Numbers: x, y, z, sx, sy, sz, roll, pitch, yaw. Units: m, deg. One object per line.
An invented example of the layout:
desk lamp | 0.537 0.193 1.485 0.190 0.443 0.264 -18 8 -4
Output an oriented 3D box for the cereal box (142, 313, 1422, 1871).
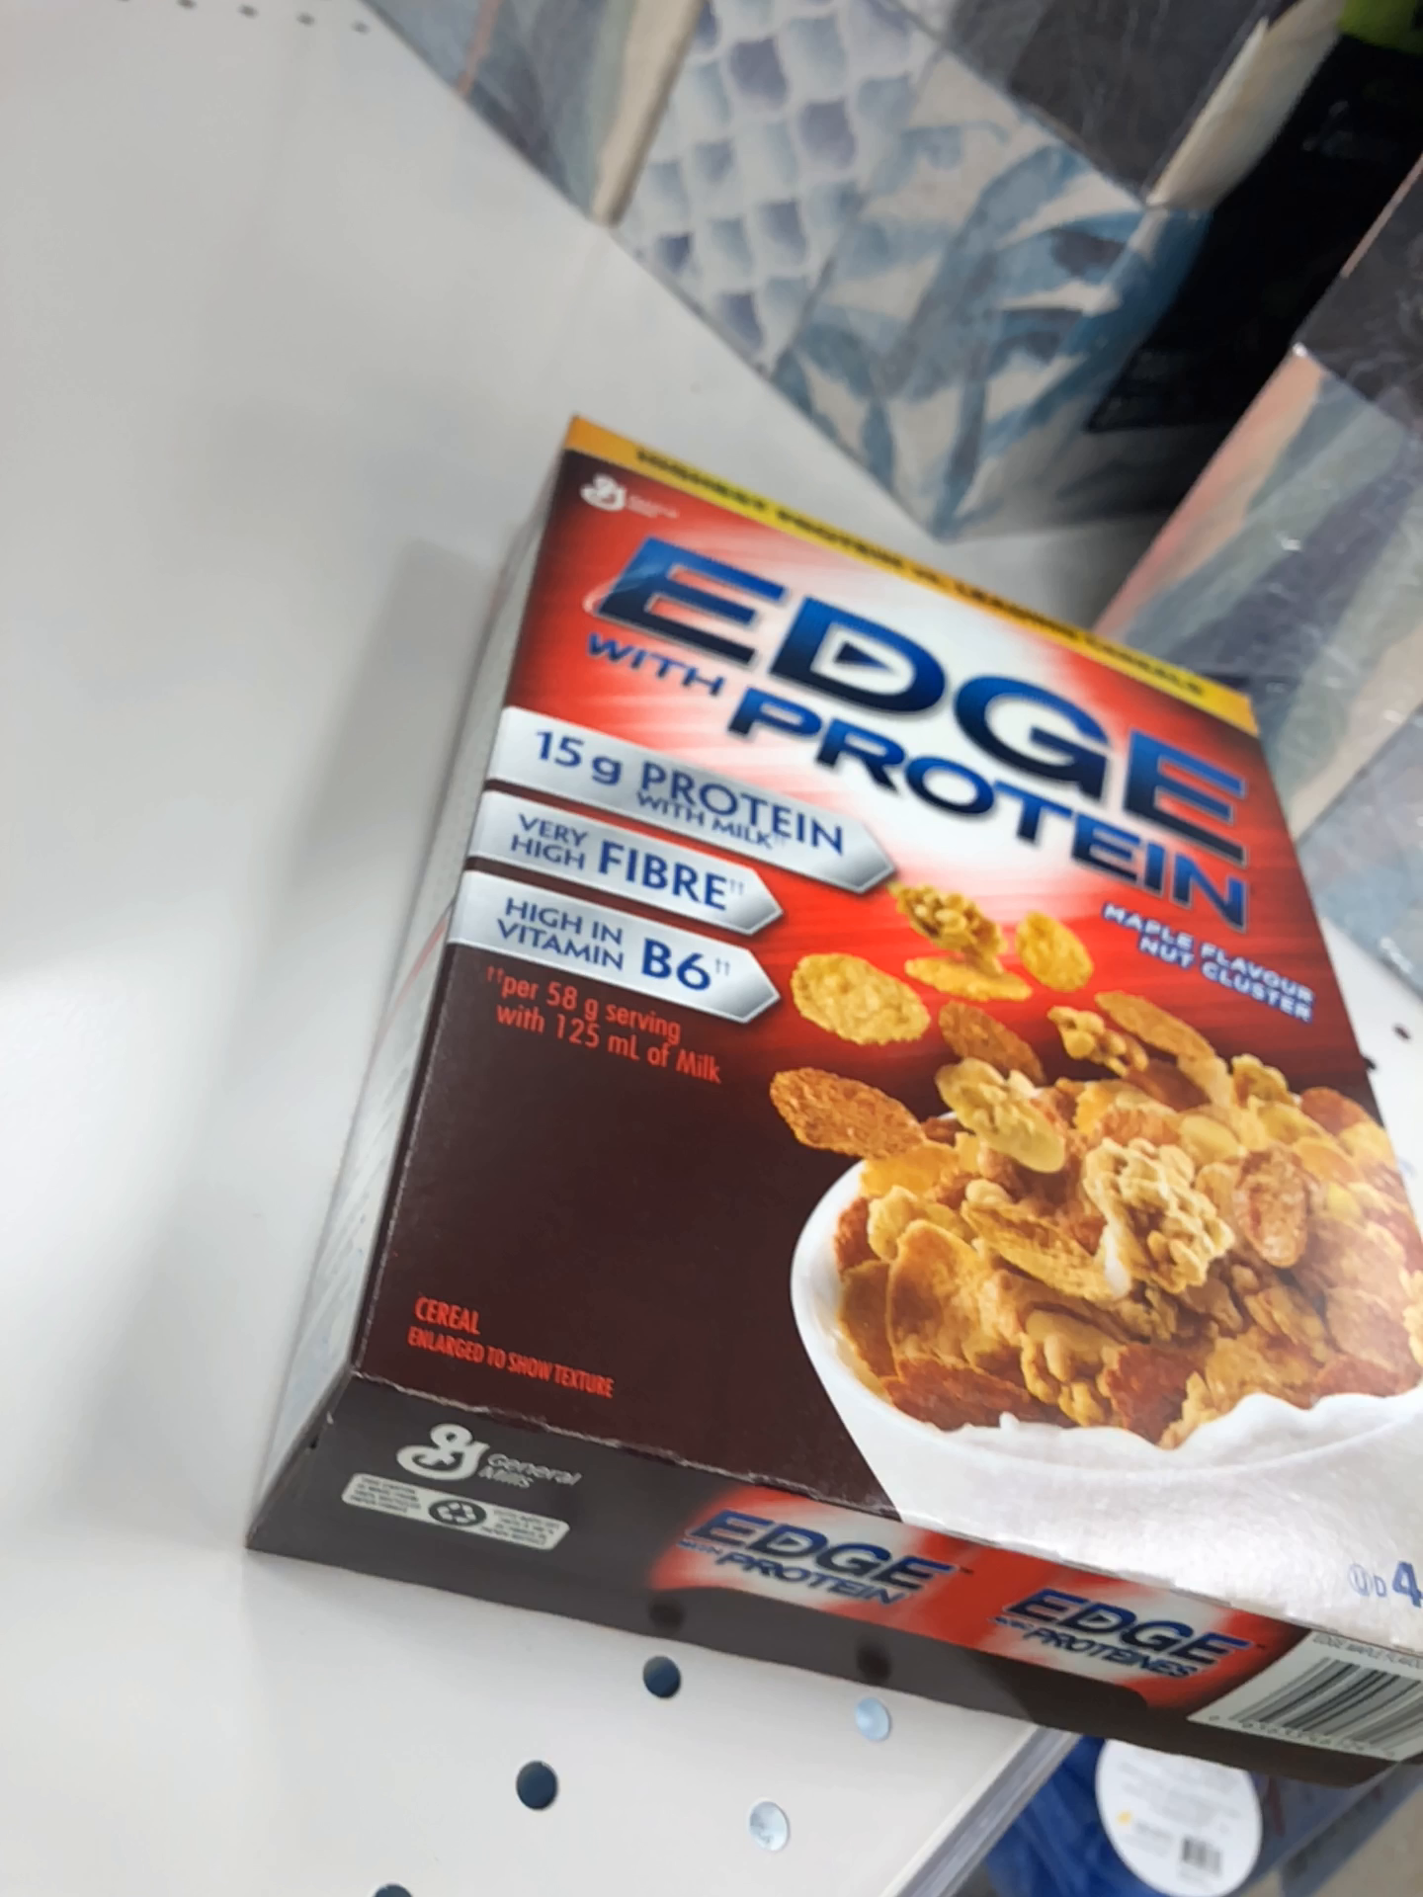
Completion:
cereal box | 0.045 0.002 0.308 0.220 0.050 0.271 19 42 -15
